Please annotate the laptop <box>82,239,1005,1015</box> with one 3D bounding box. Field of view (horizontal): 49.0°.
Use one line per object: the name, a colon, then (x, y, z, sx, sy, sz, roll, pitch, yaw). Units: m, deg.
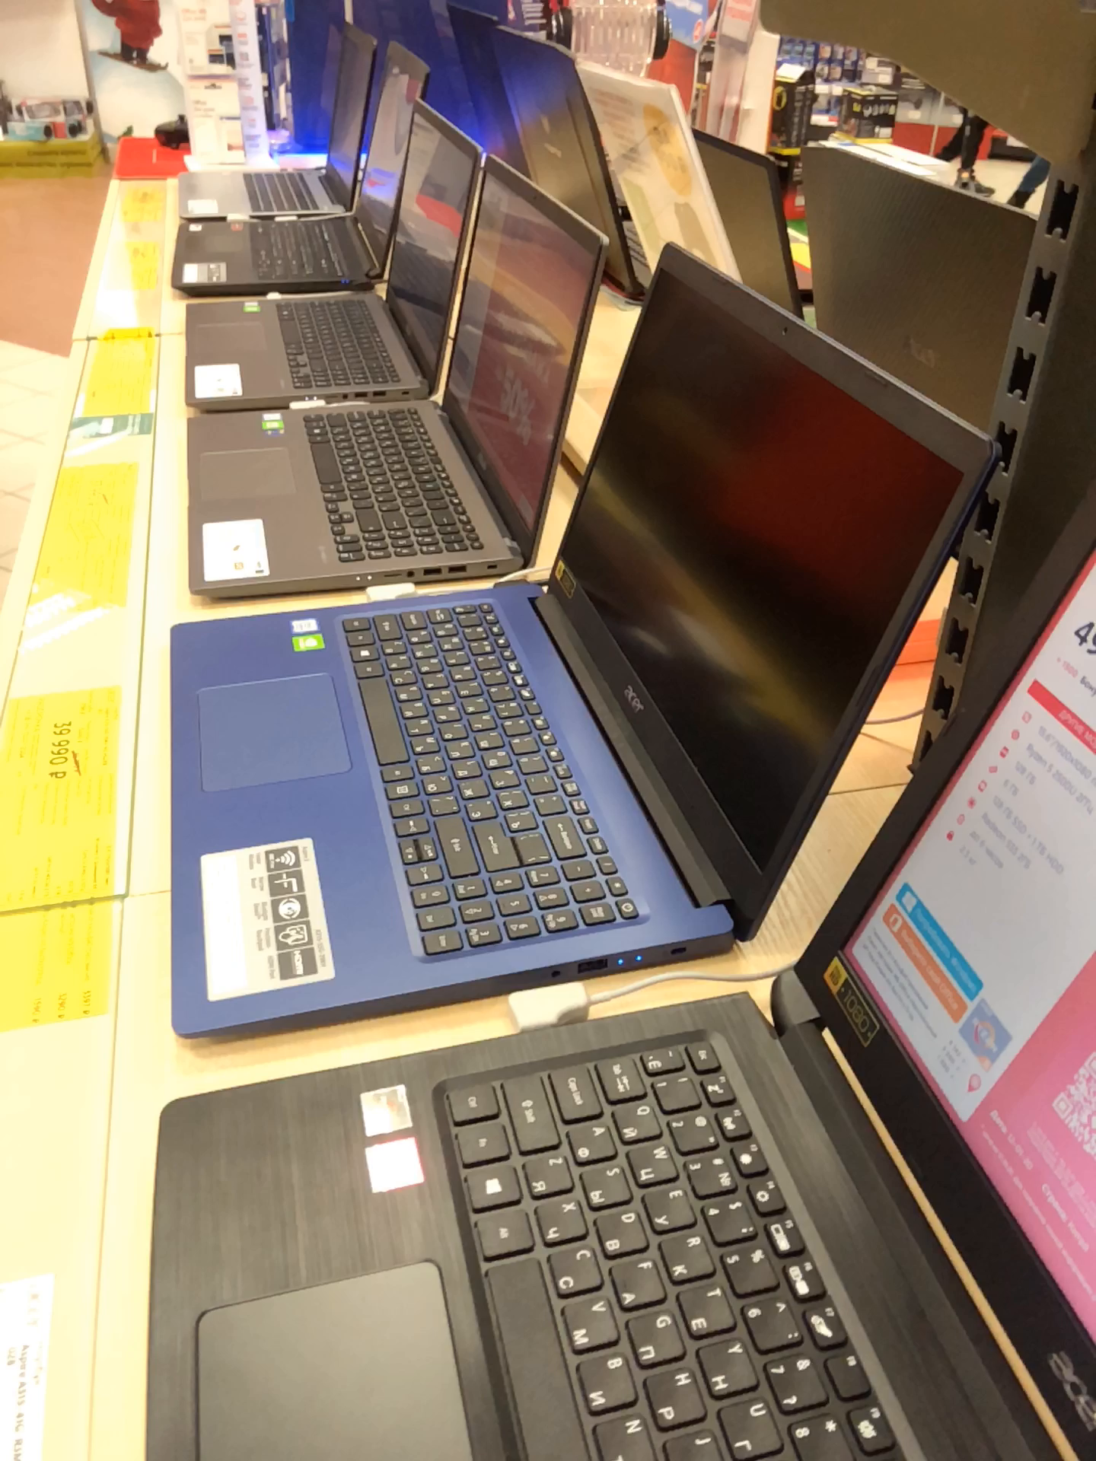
laptop: (-0.035, -0.092, 0.620, 0.327, 0.221, 0.359, -8, 33, -11)
